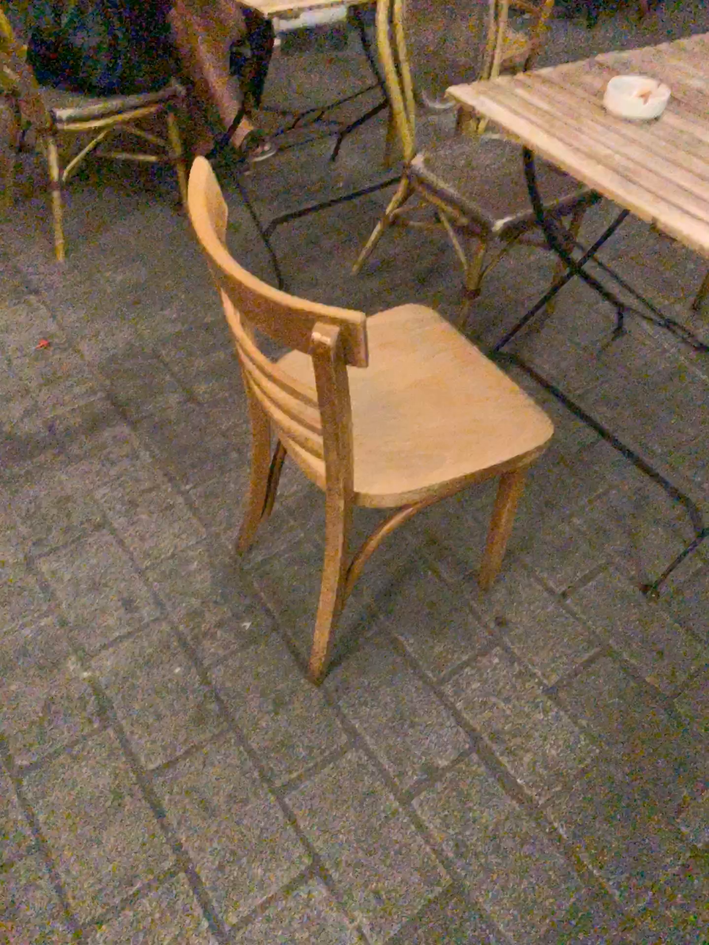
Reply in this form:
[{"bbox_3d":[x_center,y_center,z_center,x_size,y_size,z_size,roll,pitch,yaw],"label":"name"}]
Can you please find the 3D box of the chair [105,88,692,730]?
[{"bbox_3d":[0.027,-0.091,1.178,0.541,0.763,0.514,-24,52,-23],"label":"chair"}]
